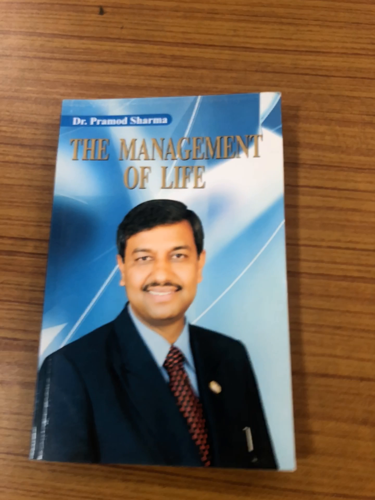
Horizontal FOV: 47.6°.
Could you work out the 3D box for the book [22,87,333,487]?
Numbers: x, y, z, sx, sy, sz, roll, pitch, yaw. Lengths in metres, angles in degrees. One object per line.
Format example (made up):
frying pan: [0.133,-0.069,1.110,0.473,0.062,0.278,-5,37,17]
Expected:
book: [-0.005,0.011,0.238,0.150,0.020,0.210,-1,77,5]
